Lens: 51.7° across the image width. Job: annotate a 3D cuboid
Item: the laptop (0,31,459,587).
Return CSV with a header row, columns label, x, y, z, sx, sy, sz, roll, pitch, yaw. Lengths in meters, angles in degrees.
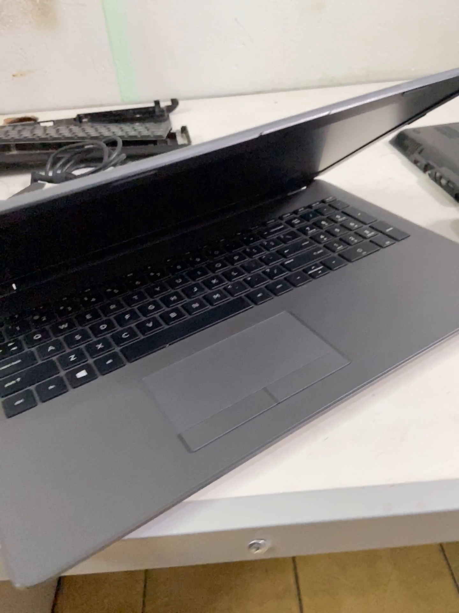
label,x,y,z,sx,sy,sz,roll,pitch,yaw
laptop,-0.002,-0.066,0.322,0.380,0.141,0.248,-24,42,-22
